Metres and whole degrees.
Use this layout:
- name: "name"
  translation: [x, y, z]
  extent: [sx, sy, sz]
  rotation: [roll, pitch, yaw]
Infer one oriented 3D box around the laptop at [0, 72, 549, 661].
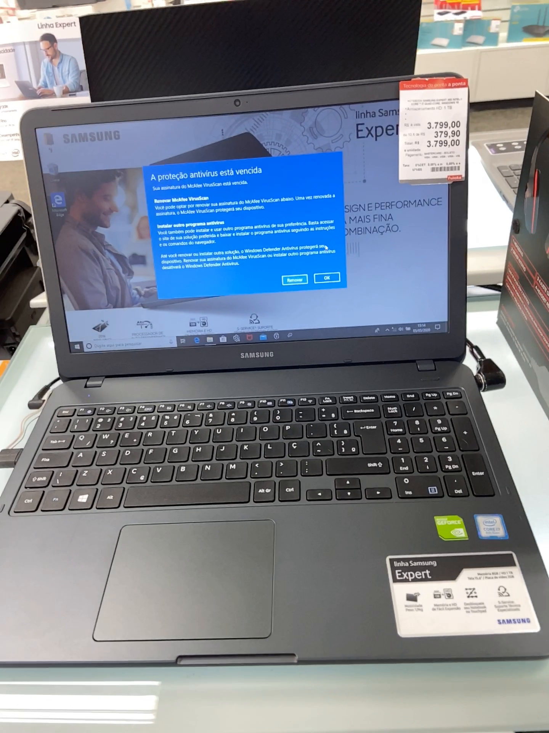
- name: "laptop"
  translation: [-0.030, -0.034, 0.404]
  extent: [0.370, 0.207, 0.373]
  rotation: [-3, 40, 4]
